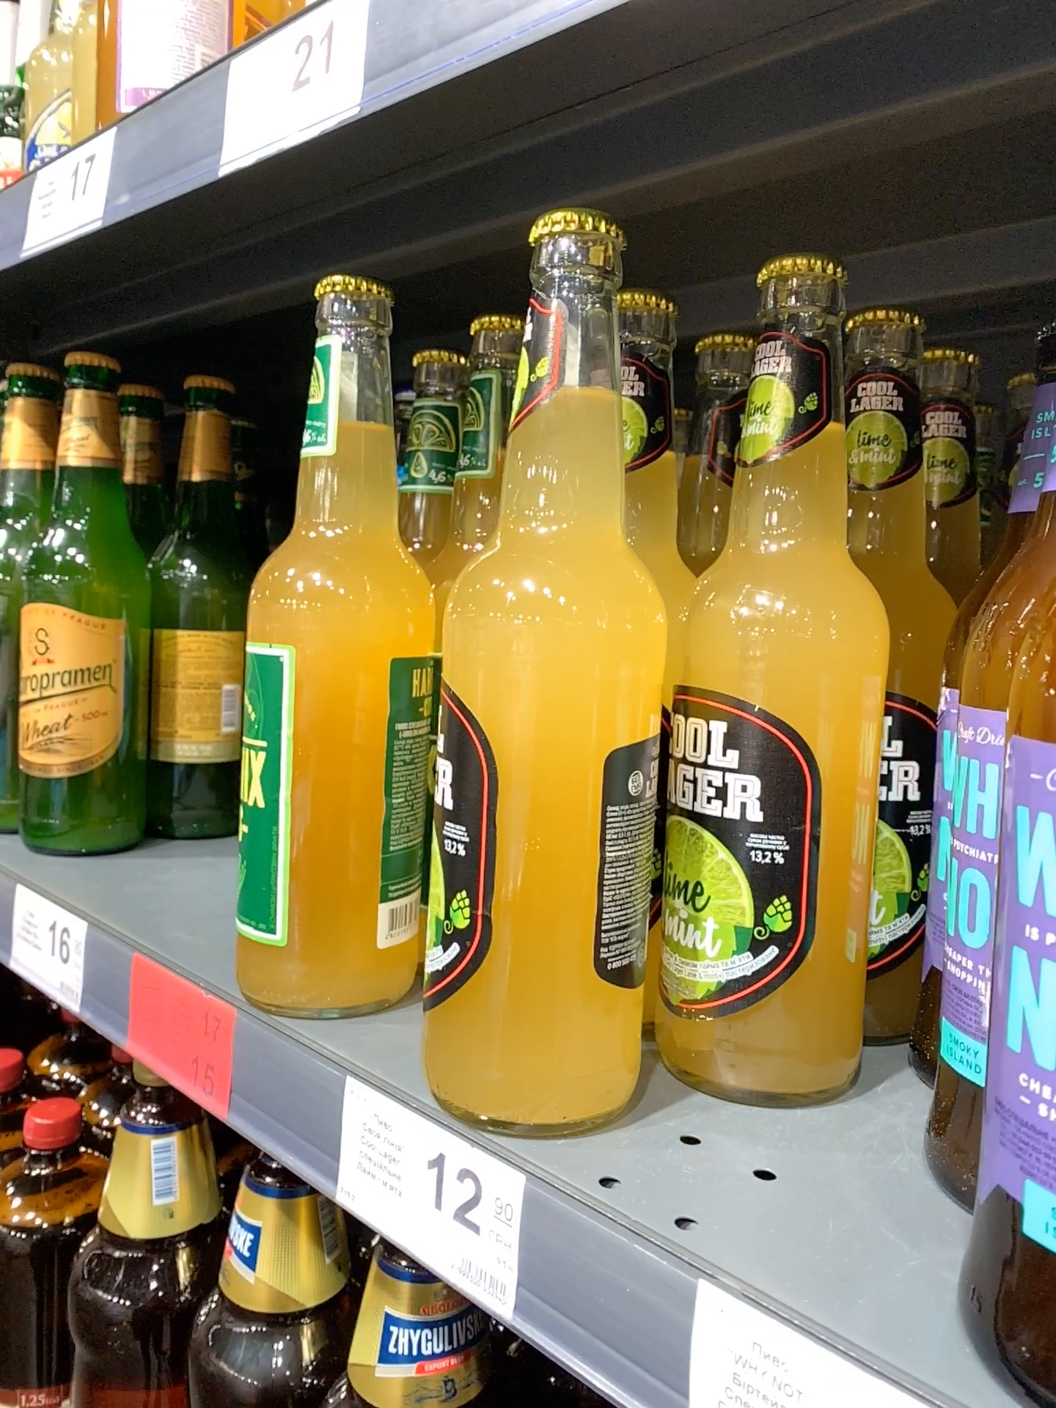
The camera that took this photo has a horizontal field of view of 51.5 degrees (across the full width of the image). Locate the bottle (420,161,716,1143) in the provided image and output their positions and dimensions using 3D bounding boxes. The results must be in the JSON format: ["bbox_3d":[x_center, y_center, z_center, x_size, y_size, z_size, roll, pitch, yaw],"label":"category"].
[{"bbox_3d":[0.006,-0.011,0.307,0.065,0.244,0.063,2,5,0],"label":"bottle"}]

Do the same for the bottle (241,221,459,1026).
[{"bbox_3d":[-0.062,-0.025,0.395,0.064,0.260,0.078,2,5,-6],"label":"bottle"}]

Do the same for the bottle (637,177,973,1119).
[{"bbox_3d":[0.079,-0.013,0.336,0.069,0.260,0.063,2,5,0],"label":"bottle"}]
